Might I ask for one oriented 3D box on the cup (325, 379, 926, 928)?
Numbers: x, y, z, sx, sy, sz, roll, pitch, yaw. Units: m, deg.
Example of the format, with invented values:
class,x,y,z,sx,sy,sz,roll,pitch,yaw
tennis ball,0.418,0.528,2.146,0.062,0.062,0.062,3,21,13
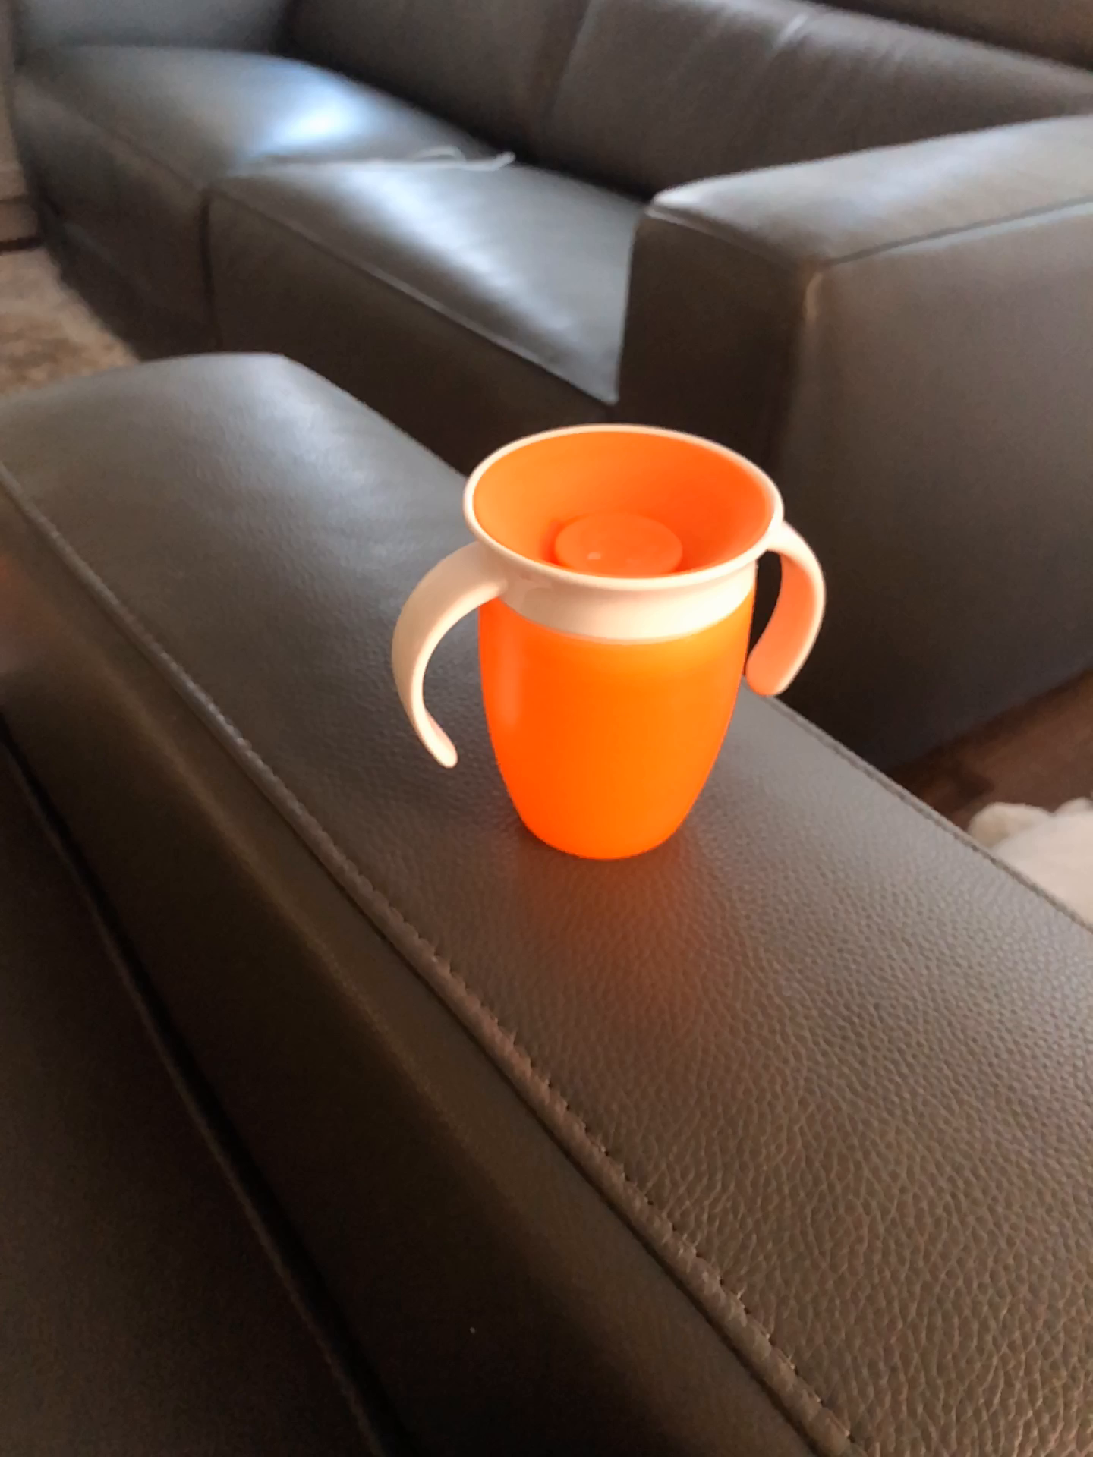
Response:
class,x,y,z,sx,sy,sz,roll,pitch,yaw
cup,0.016,-0.025,0.336,0.126,0.096,0.083,-15,42,-21
